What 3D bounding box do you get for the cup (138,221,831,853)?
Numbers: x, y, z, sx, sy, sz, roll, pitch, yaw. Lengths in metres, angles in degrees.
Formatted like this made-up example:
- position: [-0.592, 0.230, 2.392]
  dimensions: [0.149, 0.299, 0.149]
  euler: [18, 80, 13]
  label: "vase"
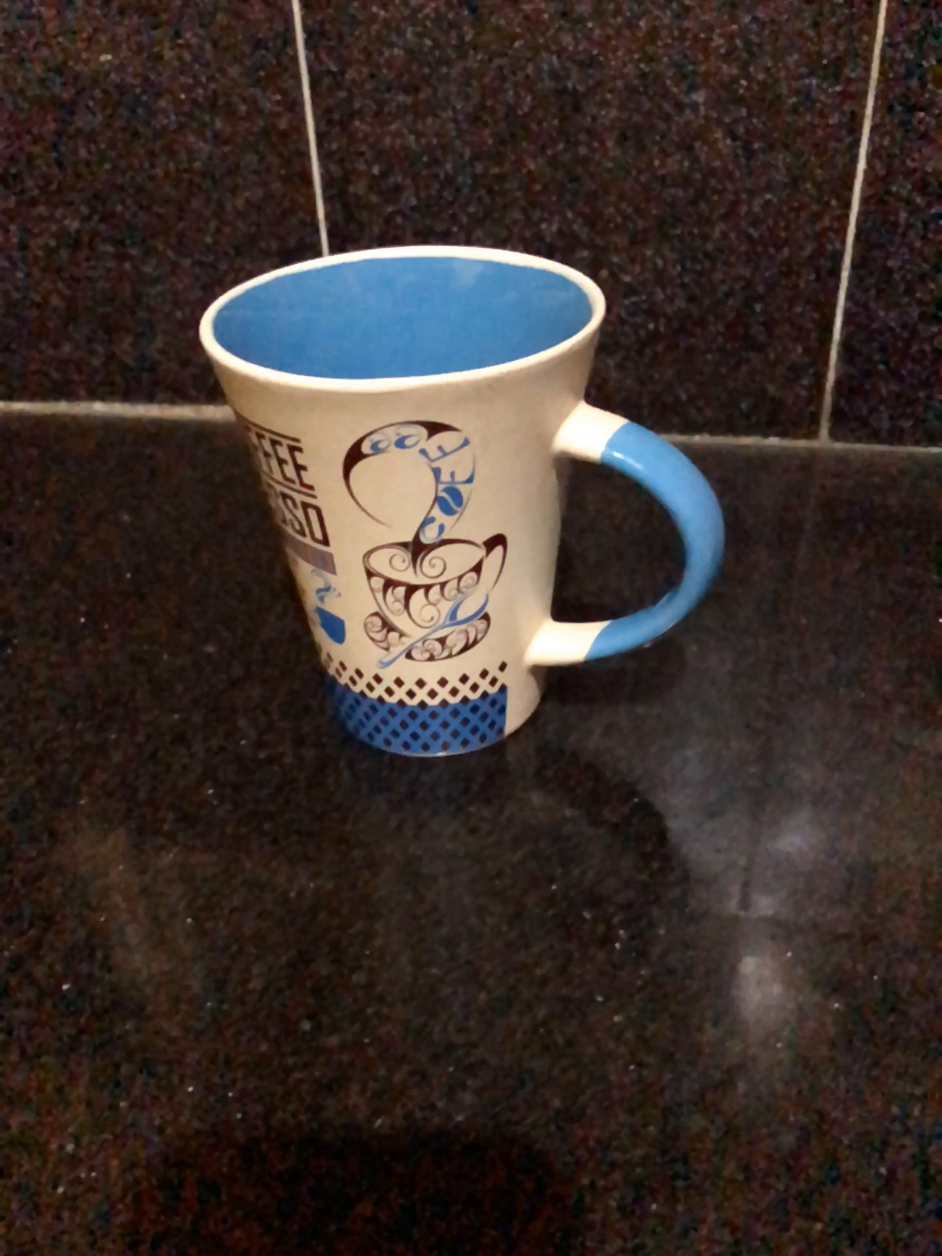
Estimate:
- position: [0.009, -0.030, 0.265]
  dimensions: [0.130, 0.109, 0.091]
  euler: [12, 38, 20]
  label: "cup"
